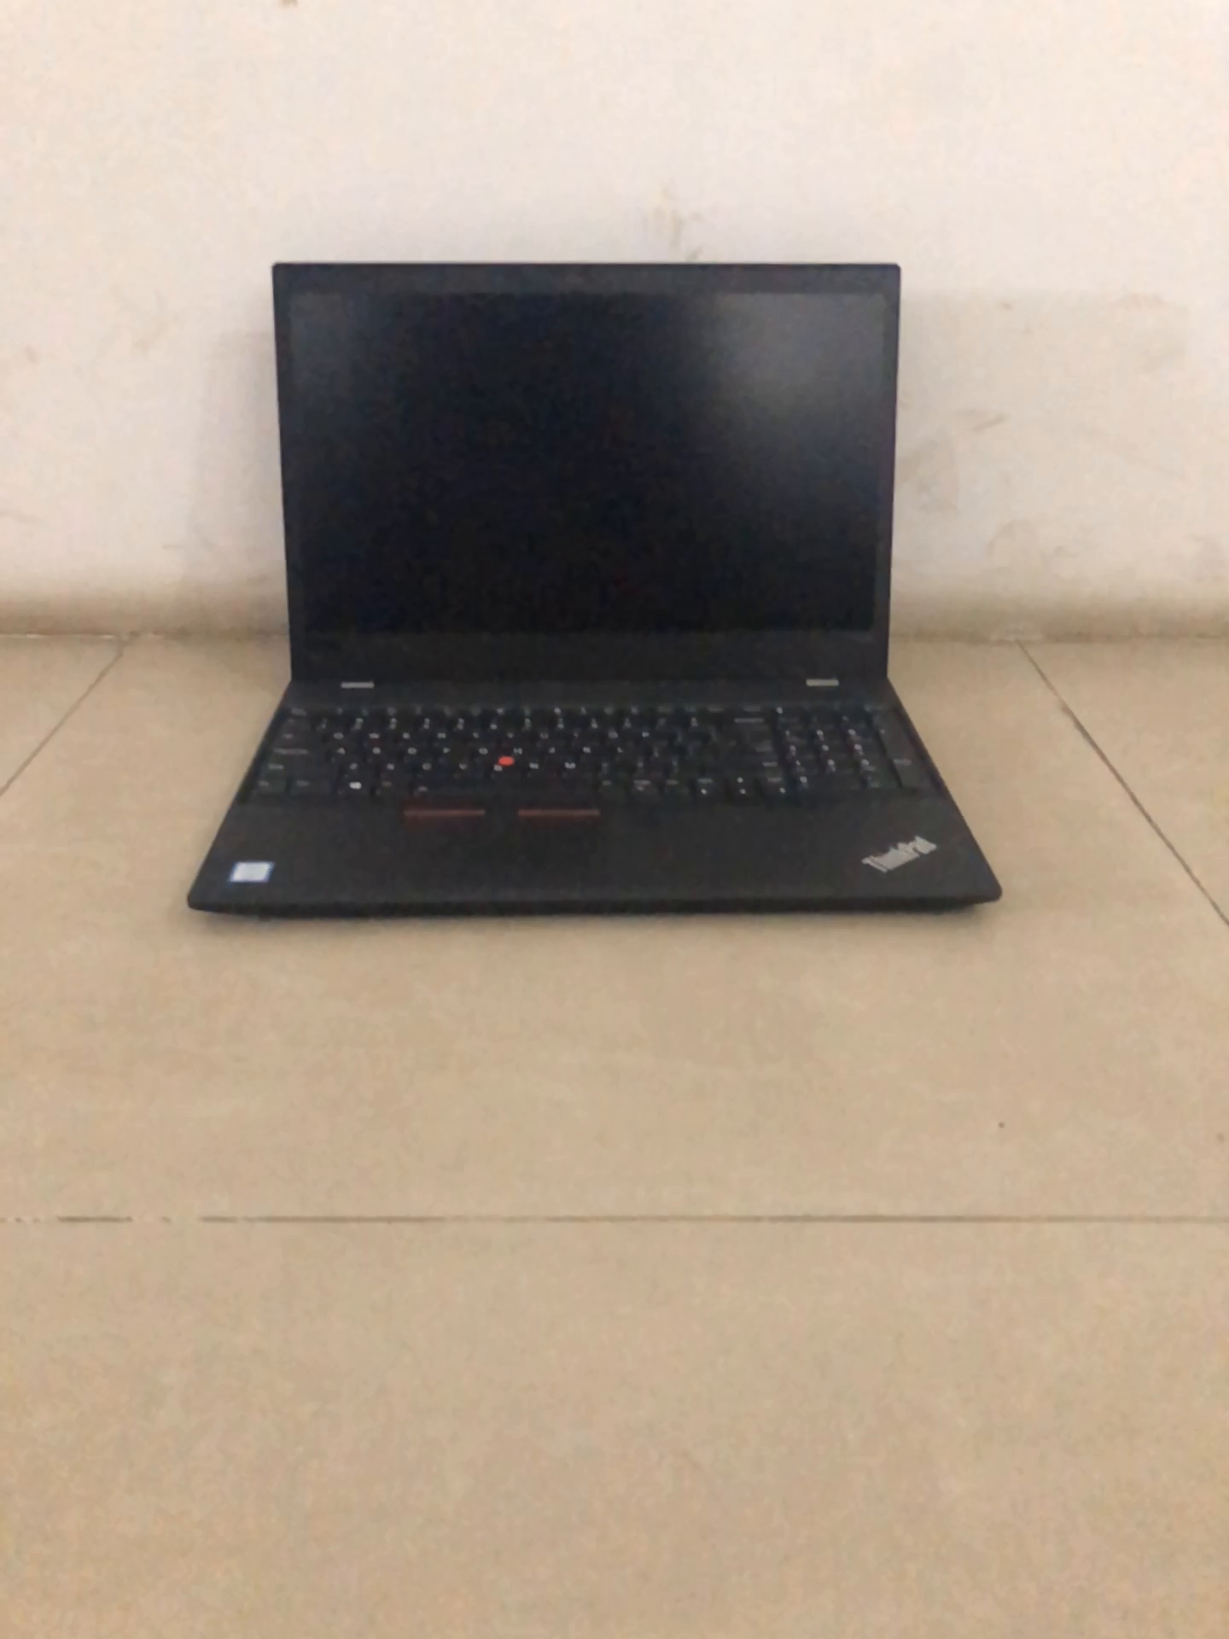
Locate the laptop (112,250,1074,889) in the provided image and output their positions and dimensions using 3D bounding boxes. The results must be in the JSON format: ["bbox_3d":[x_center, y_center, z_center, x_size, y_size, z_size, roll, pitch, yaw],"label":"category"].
[{"bbox_3d":[-0.012,-0.149,0.683,0.351,0.214,0.329,0,29,-2],"label":"laptop"}]
